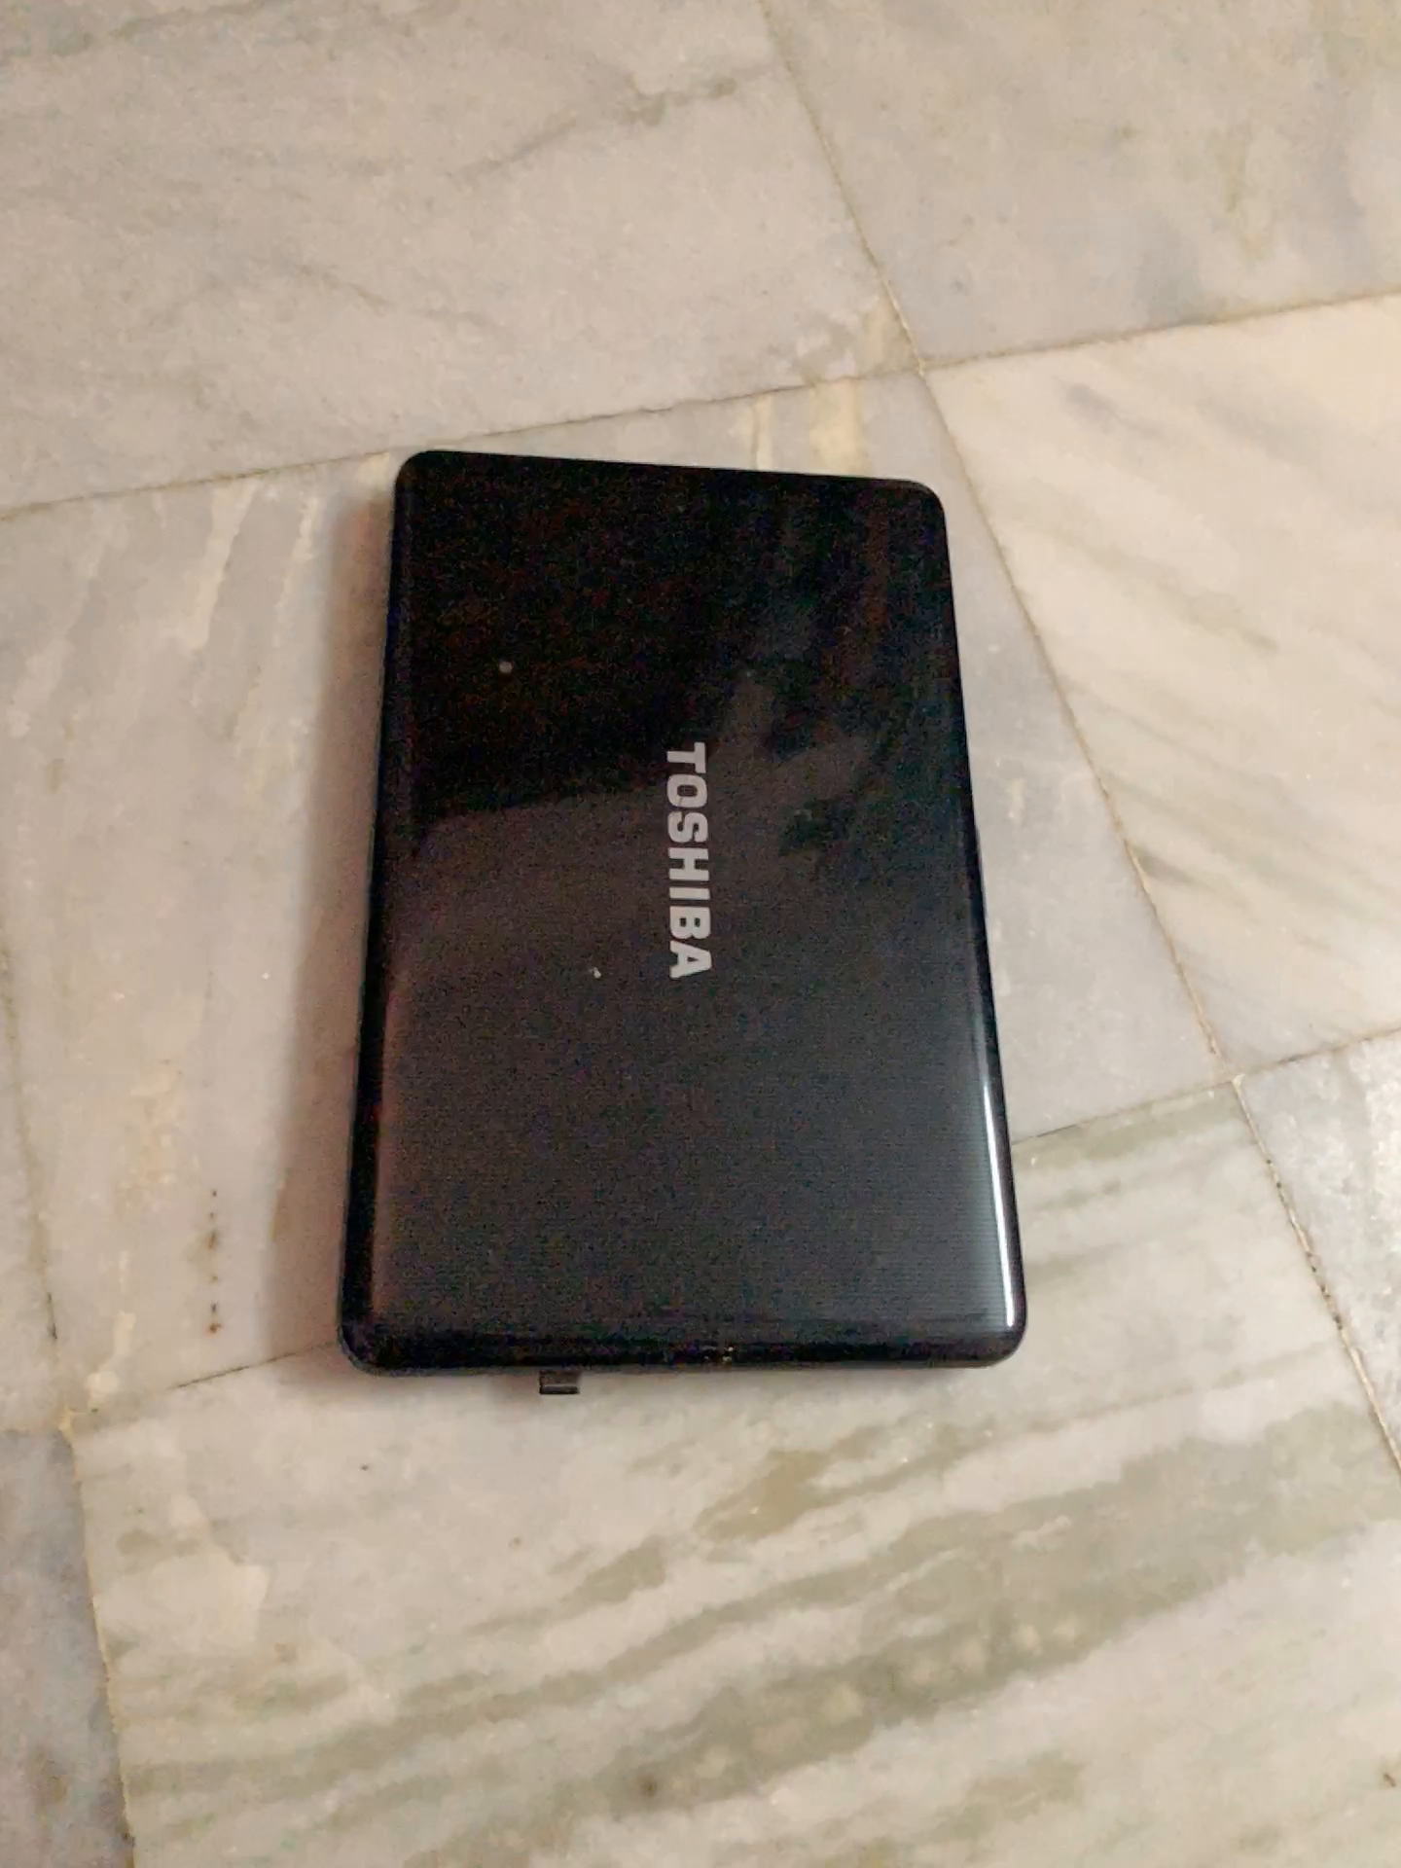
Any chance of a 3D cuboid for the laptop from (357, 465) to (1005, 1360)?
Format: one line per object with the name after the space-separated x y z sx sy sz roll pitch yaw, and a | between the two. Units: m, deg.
-0.008 -0.025 0.548 0.222 0.003 0.355 1 70 -8 | laptop
